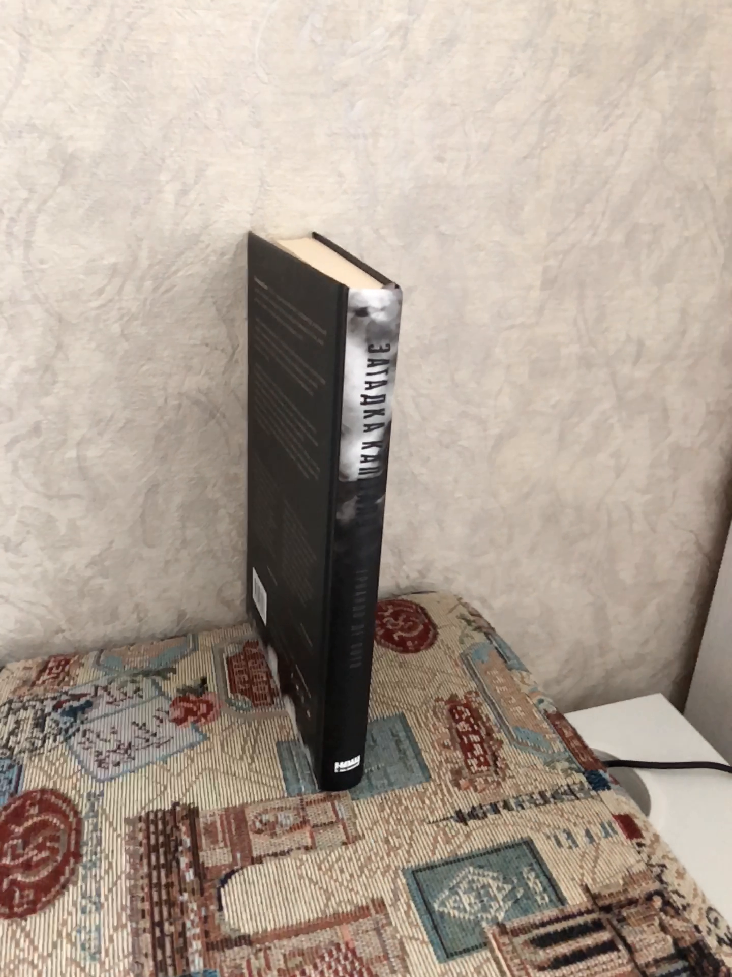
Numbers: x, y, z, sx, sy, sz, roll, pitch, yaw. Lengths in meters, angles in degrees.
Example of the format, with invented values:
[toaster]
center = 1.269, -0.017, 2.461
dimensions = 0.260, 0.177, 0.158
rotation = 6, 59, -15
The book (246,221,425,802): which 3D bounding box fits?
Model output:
[book]
center = -0.022, 0.002, 0.341
dimensions = 0.035, 0.200, 0.138
rotation = -4, 26, -15
